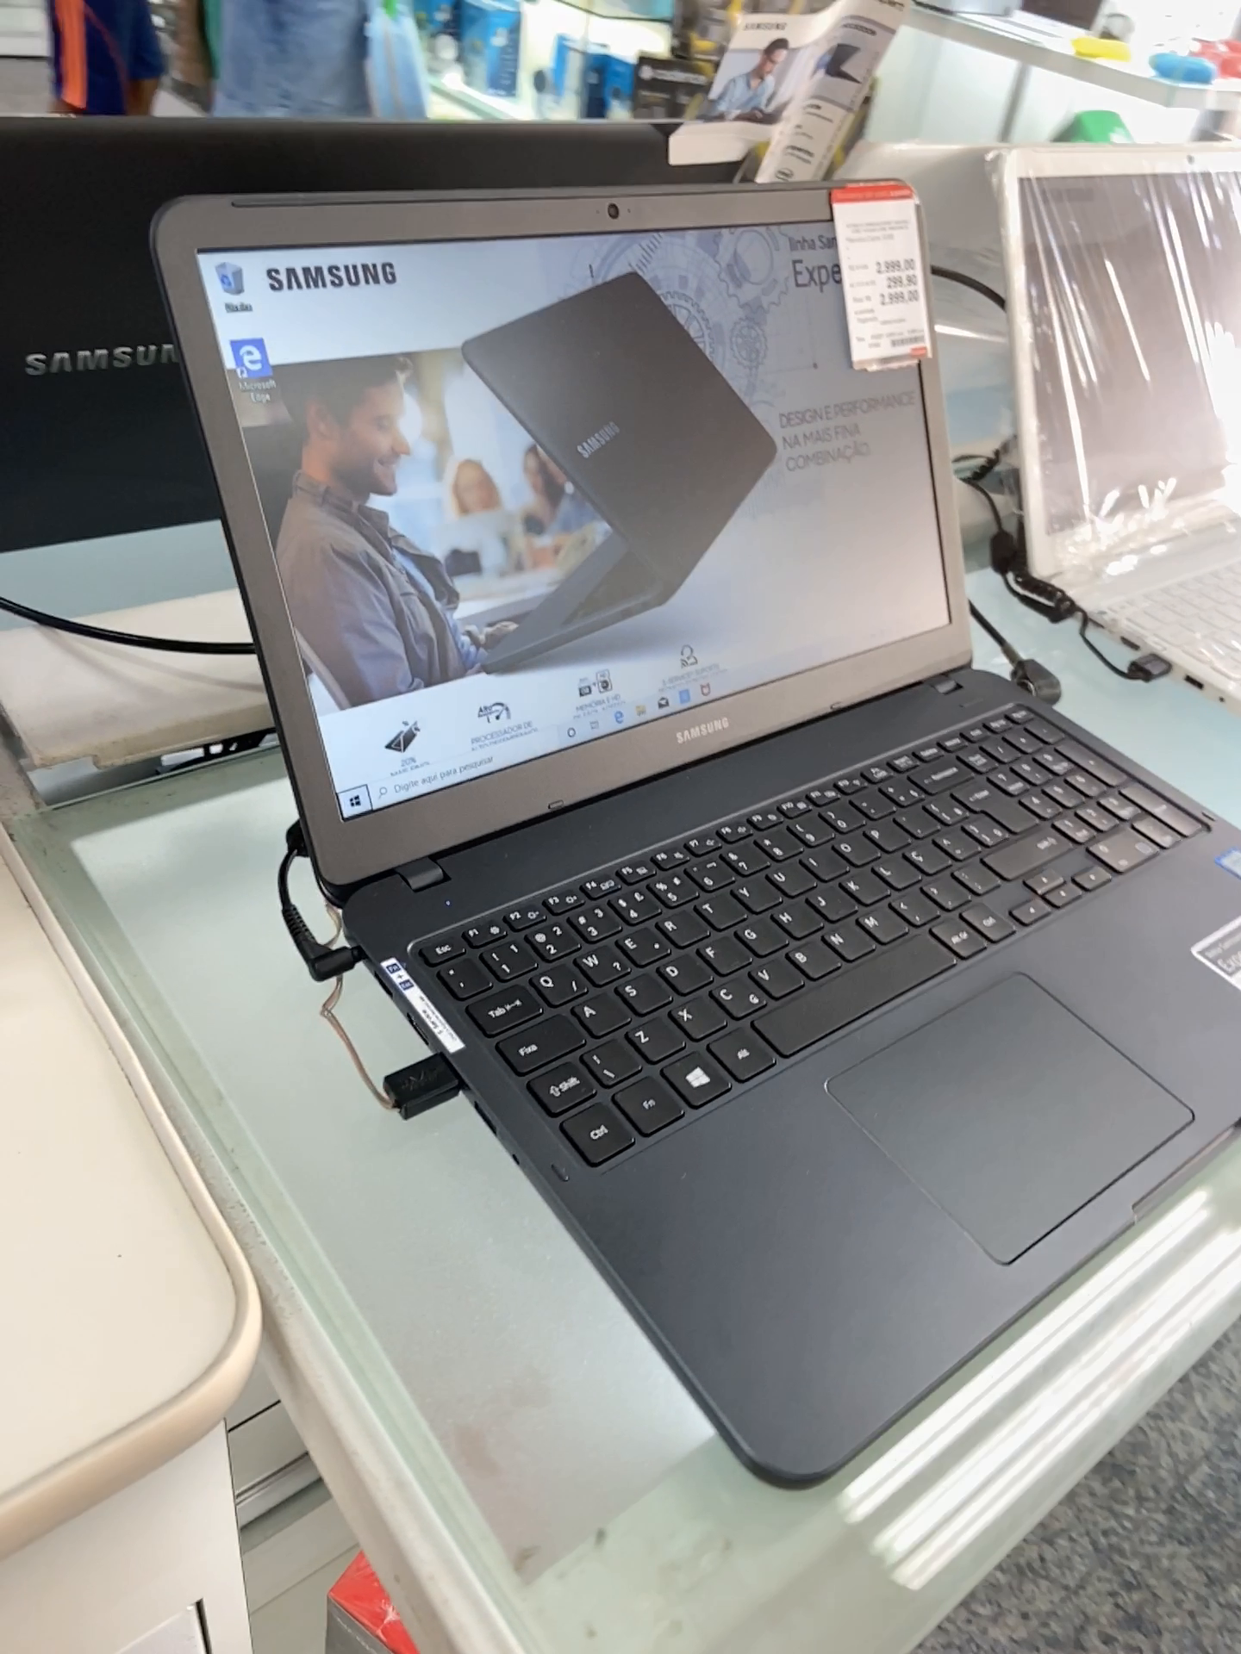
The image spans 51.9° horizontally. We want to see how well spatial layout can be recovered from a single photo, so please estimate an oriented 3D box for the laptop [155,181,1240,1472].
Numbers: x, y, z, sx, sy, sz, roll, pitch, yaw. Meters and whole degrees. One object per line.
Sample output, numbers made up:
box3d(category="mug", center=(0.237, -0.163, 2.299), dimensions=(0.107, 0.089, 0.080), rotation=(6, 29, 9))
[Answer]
box3d(category="laptop", center=(0.091, -0.073, 0.474), dimensions=(0.372, 0.200, 0.369), rotation=(-21, 48, -33))
